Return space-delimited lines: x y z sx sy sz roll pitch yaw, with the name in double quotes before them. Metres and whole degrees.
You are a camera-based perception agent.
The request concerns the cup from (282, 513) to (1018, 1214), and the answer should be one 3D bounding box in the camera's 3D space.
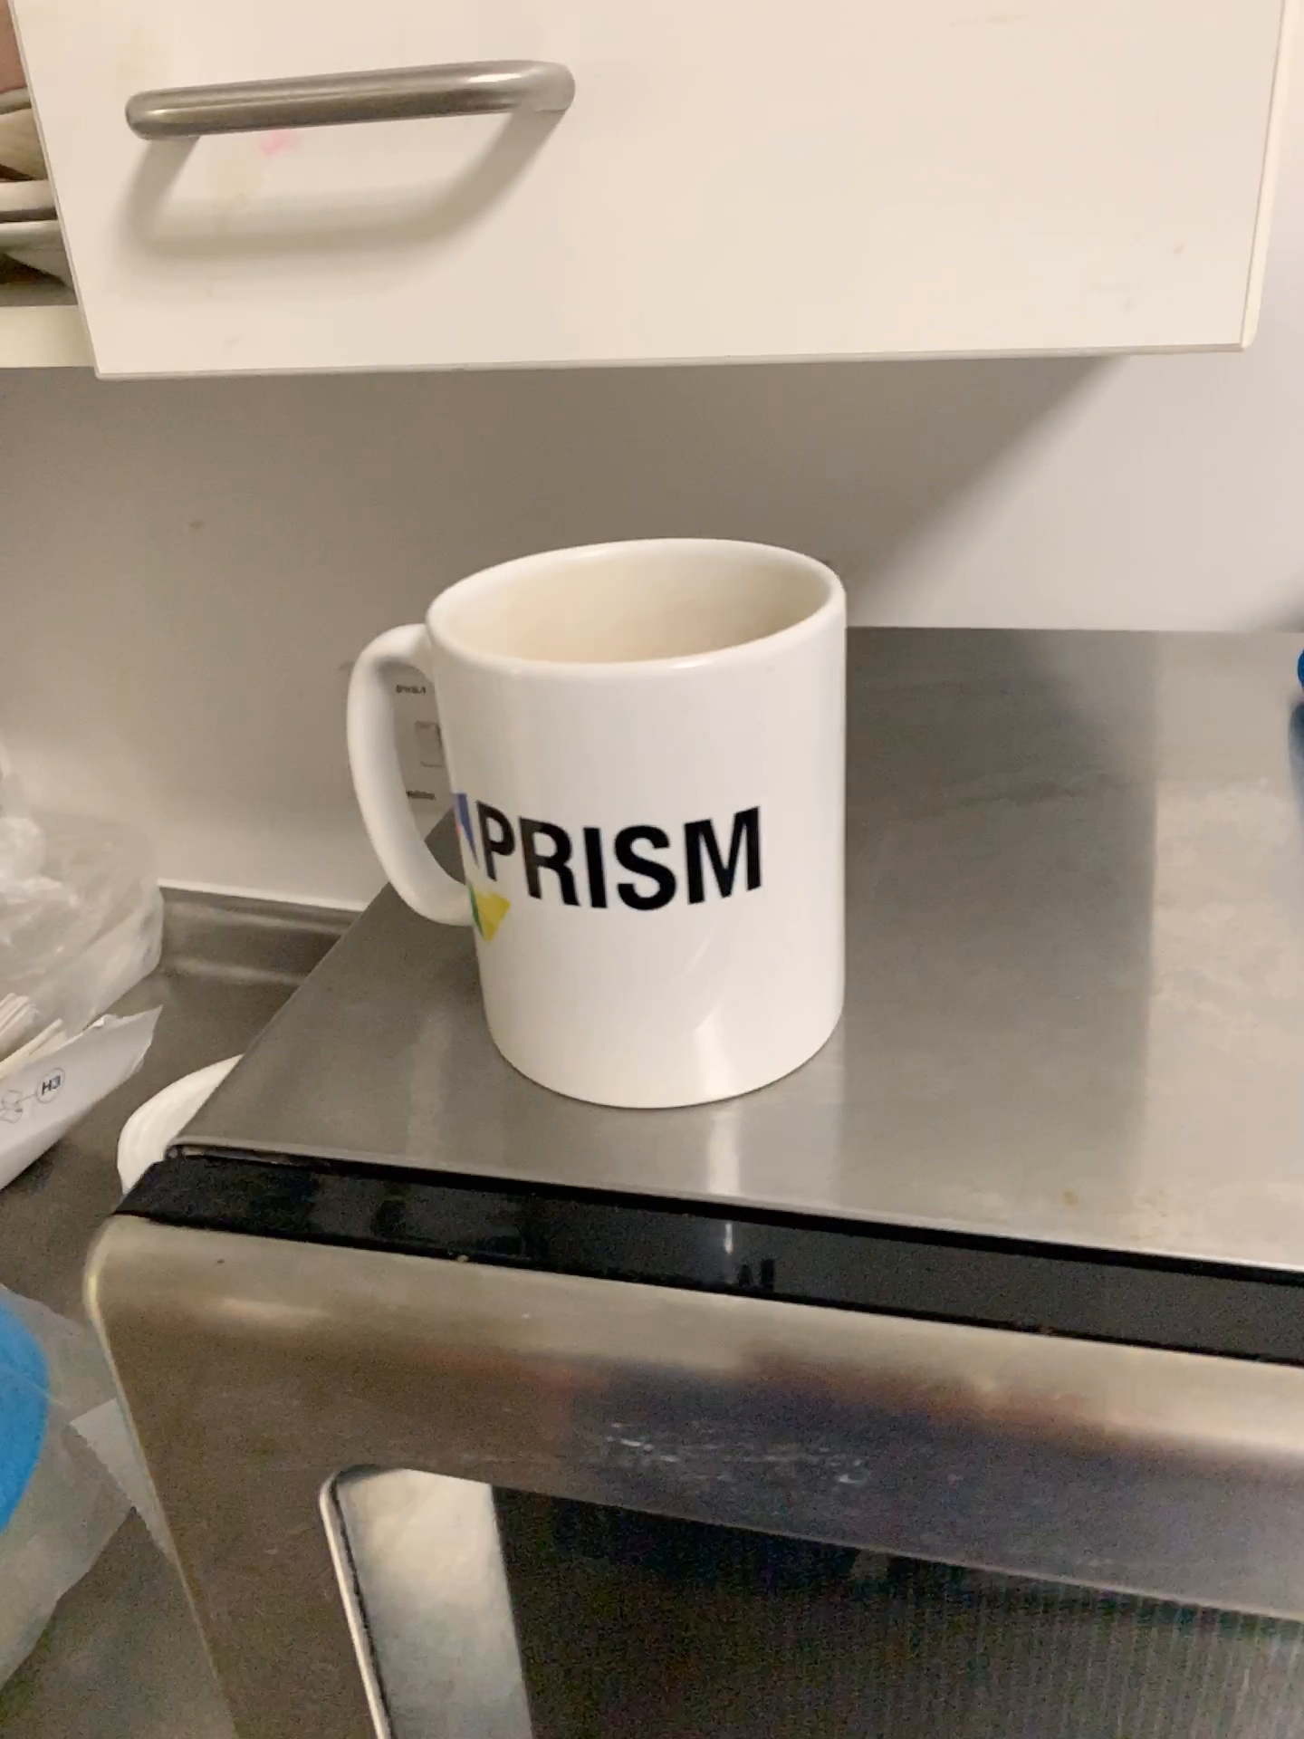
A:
"cup" 0.005 -0.012 0.287 0.113 0.099 0.095 12 31 29
